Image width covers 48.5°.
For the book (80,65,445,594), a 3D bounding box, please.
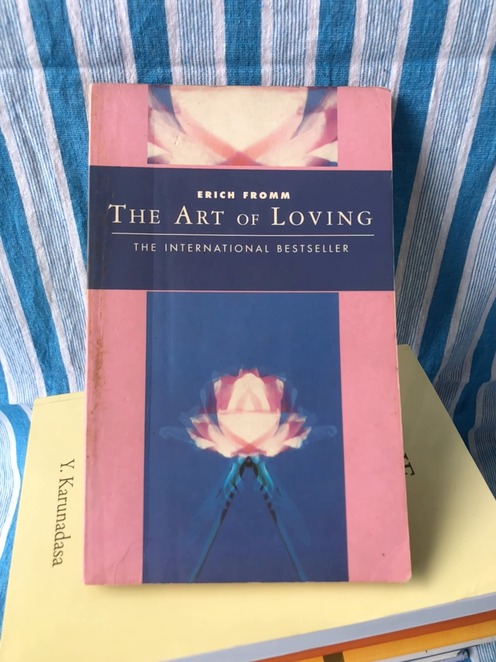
[{"bbox_3d":[0.003,-0.004,0.210,0.129,0.015,0.193,-1,86,0],"label":"book"}]
